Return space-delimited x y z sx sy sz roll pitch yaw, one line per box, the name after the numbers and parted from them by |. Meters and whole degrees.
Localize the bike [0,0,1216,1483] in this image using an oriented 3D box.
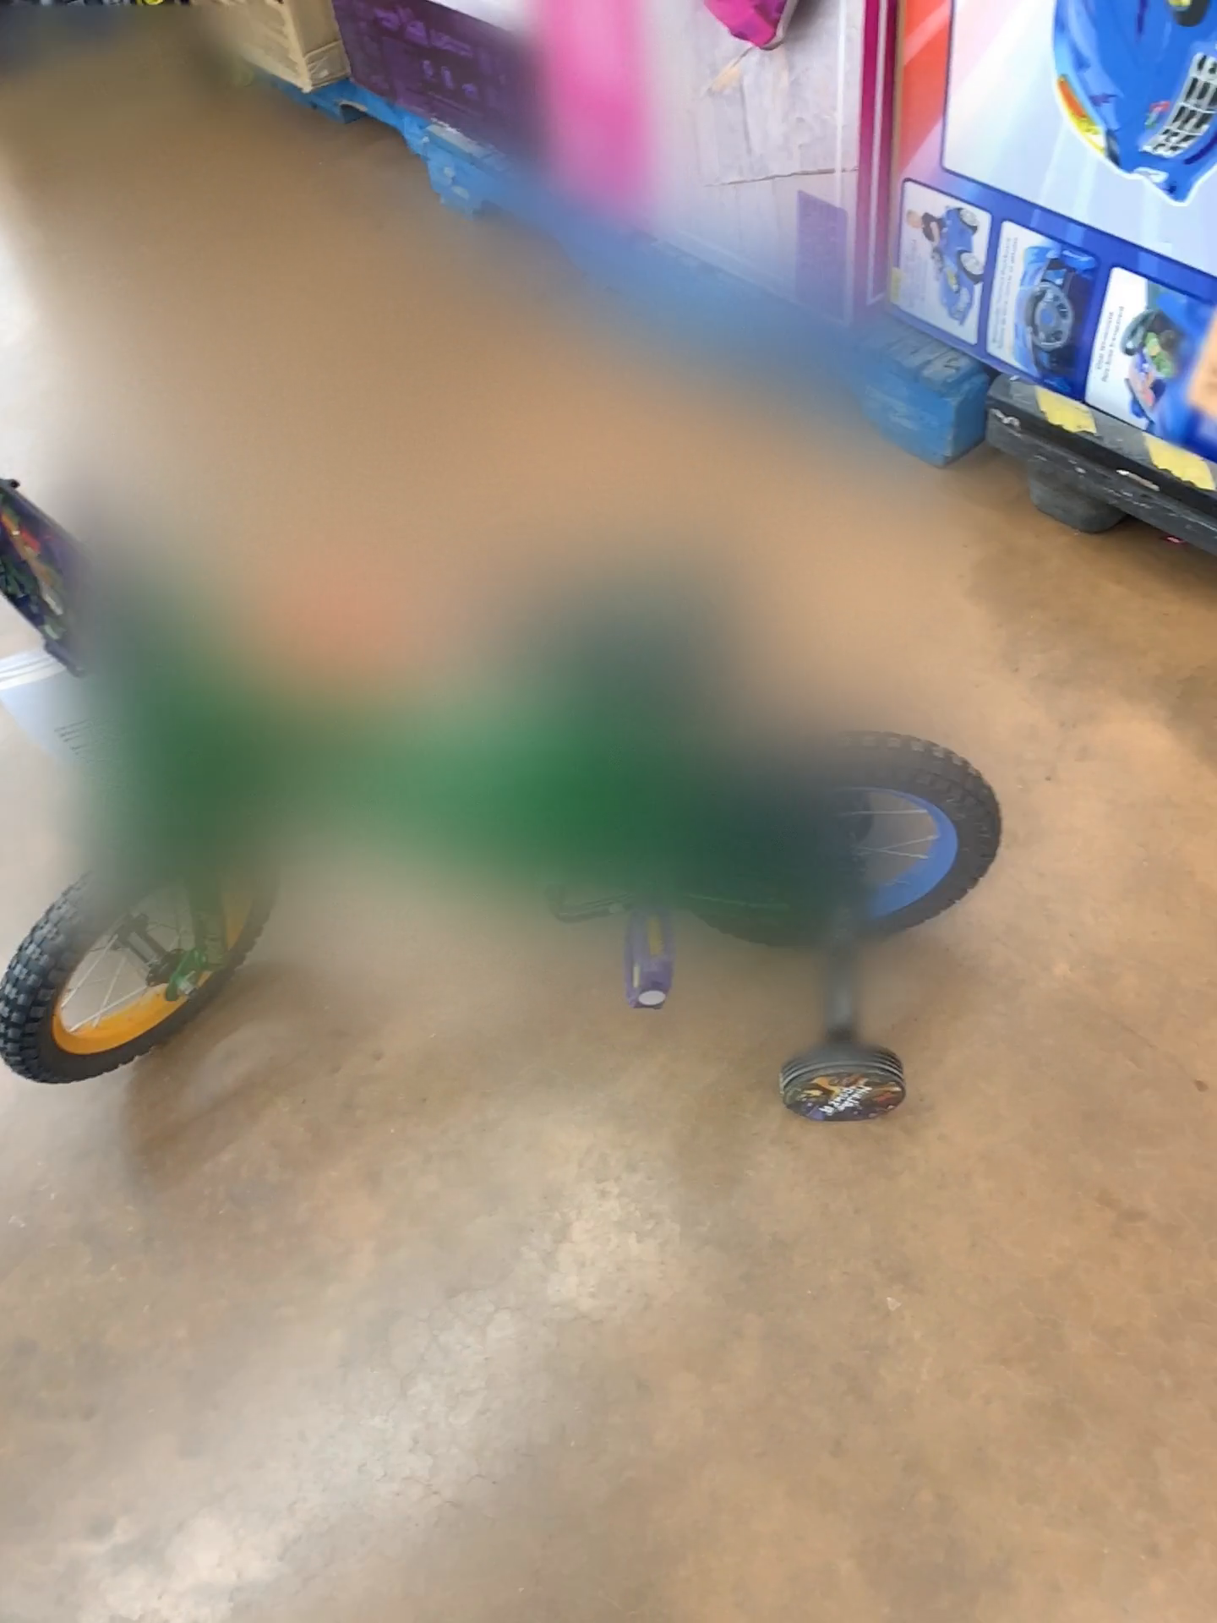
-0.090 -0.013 0.833 0.850 0.733 0.491 -12 51 -5 | bike
